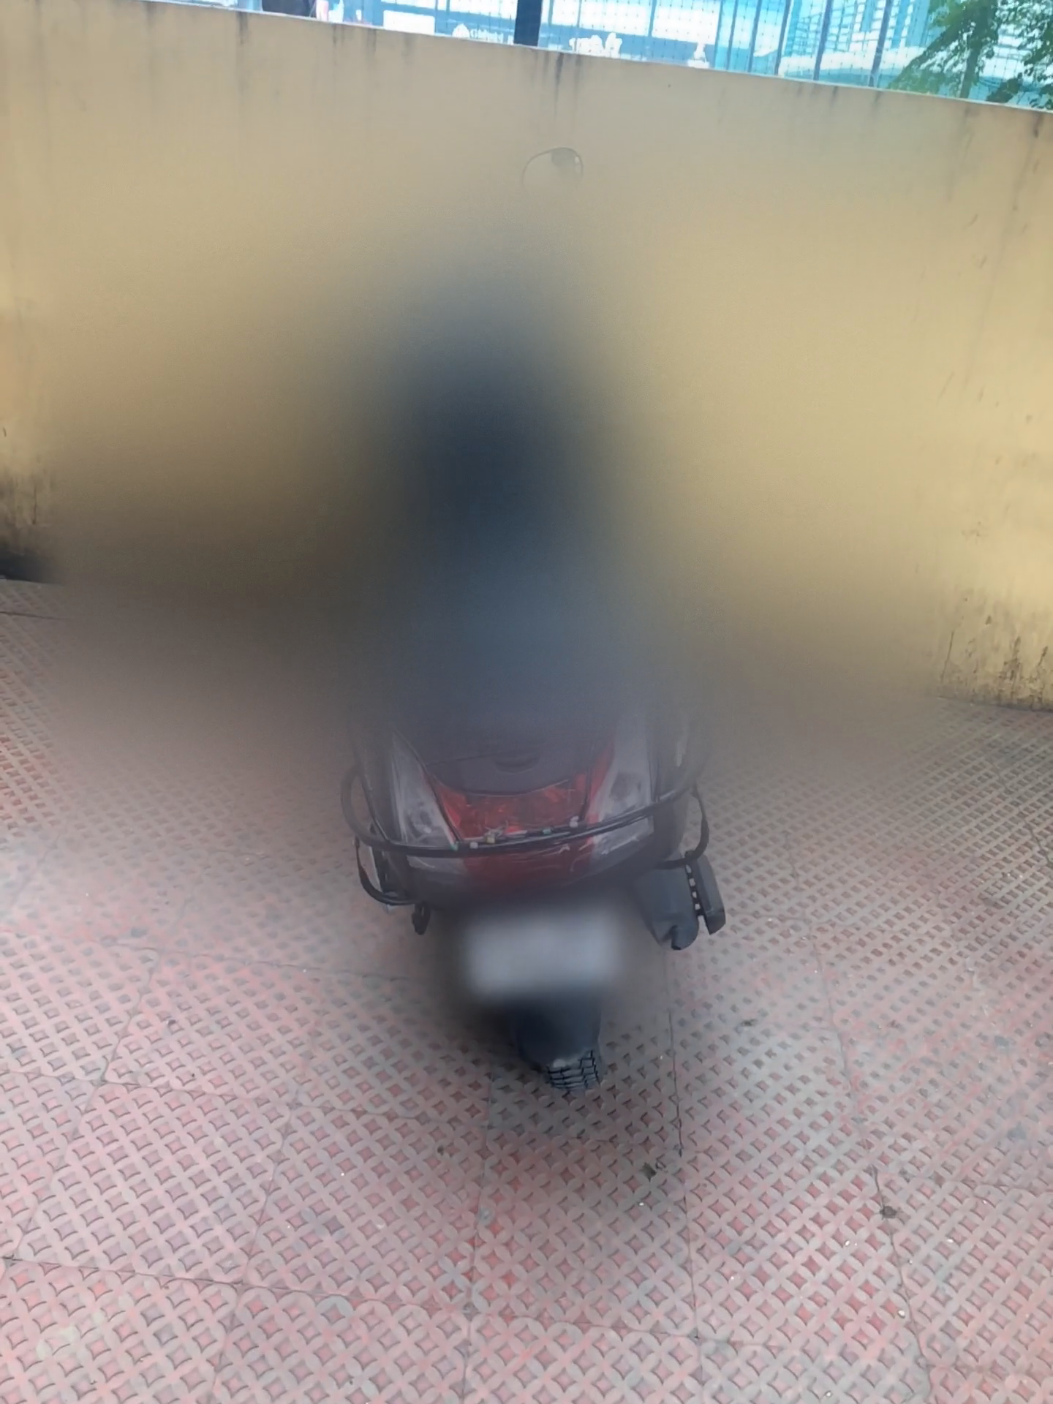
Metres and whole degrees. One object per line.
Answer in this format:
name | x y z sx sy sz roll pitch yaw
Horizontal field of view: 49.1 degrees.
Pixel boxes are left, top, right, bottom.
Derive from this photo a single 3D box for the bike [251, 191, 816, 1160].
bike | -0.059 -0.194 2.088 0.578 1.139 1.489 5 29 -5
